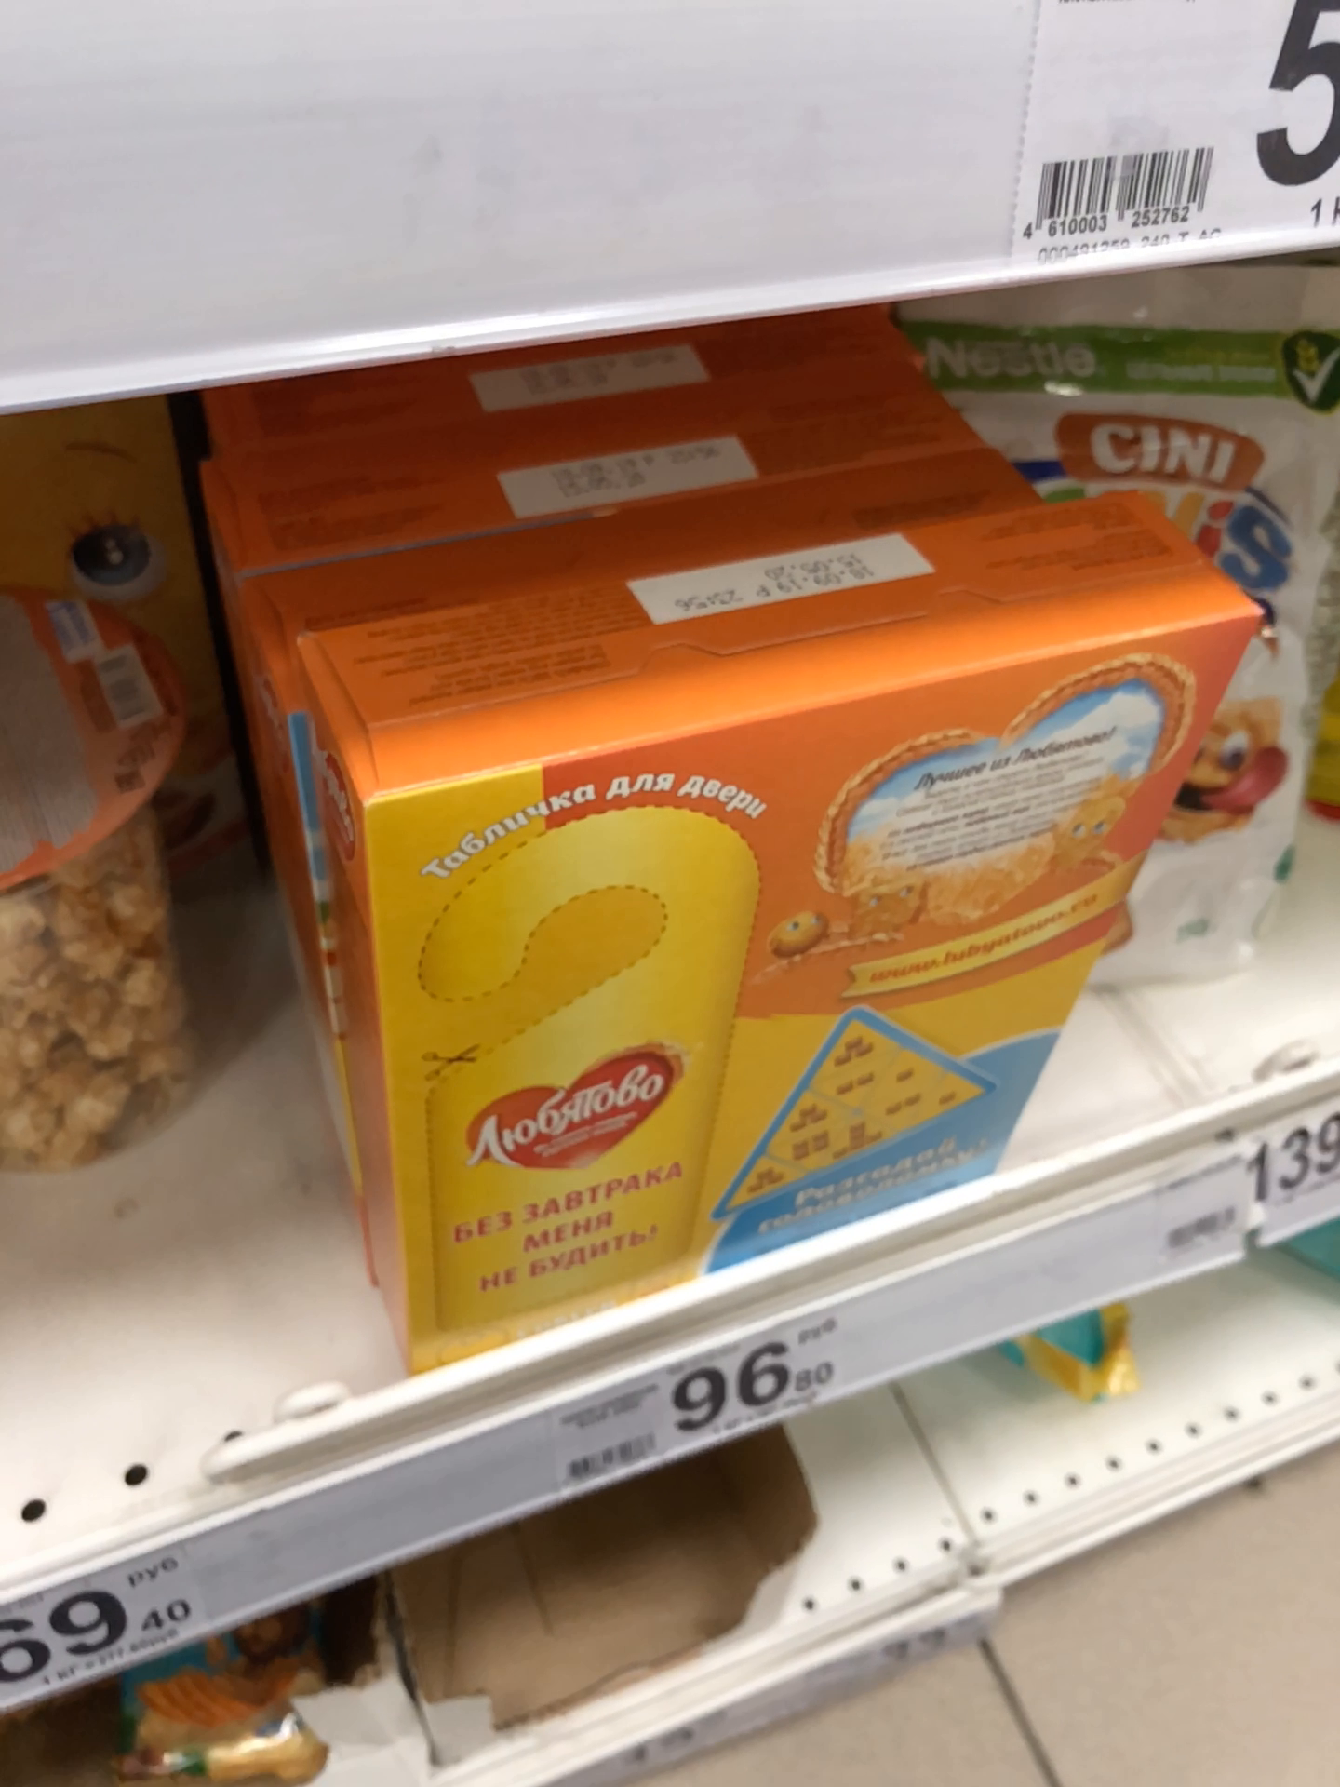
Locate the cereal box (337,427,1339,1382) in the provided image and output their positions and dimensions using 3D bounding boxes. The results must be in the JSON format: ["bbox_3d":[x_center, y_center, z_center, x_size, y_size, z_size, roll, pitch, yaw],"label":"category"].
[{"bbox_3d":[0.026,0.016,0.356,0.180,0.229,0.050,-14,52,-18],"label":"cereal box"}]
